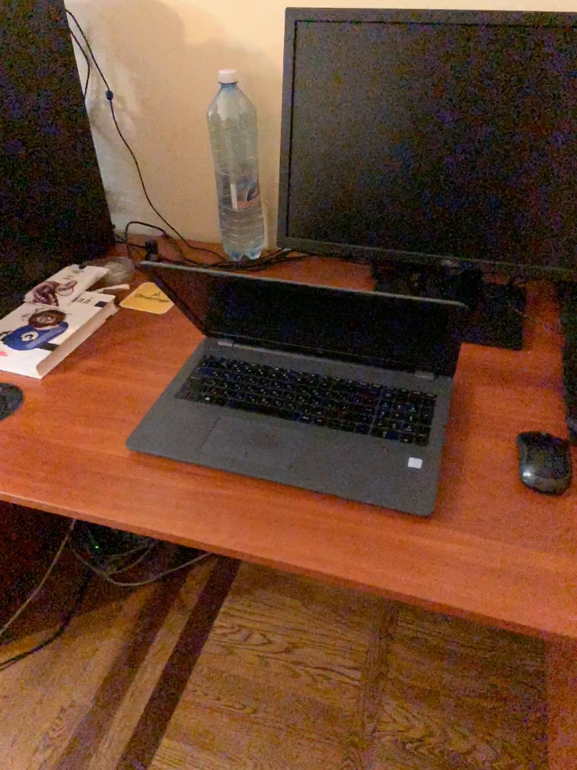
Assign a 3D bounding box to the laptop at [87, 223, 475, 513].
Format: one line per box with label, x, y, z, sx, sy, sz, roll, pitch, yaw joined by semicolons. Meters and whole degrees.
laptop;0.006;-0.042;0.722;0.385;0.193;0.246;10;40;16
